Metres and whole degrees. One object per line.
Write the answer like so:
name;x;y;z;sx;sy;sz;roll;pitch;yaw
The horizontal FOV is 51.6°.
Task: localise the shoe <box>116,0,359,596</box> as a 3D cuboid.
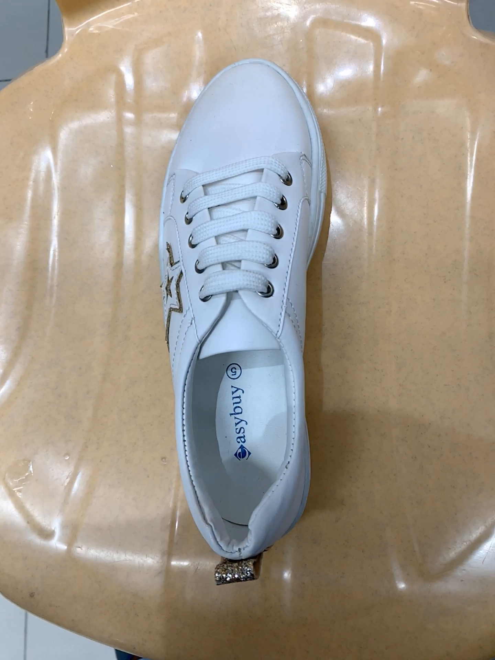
shoe;0.000;-0.018;0.247;0.090;0.090;0.240;-3;87;10
